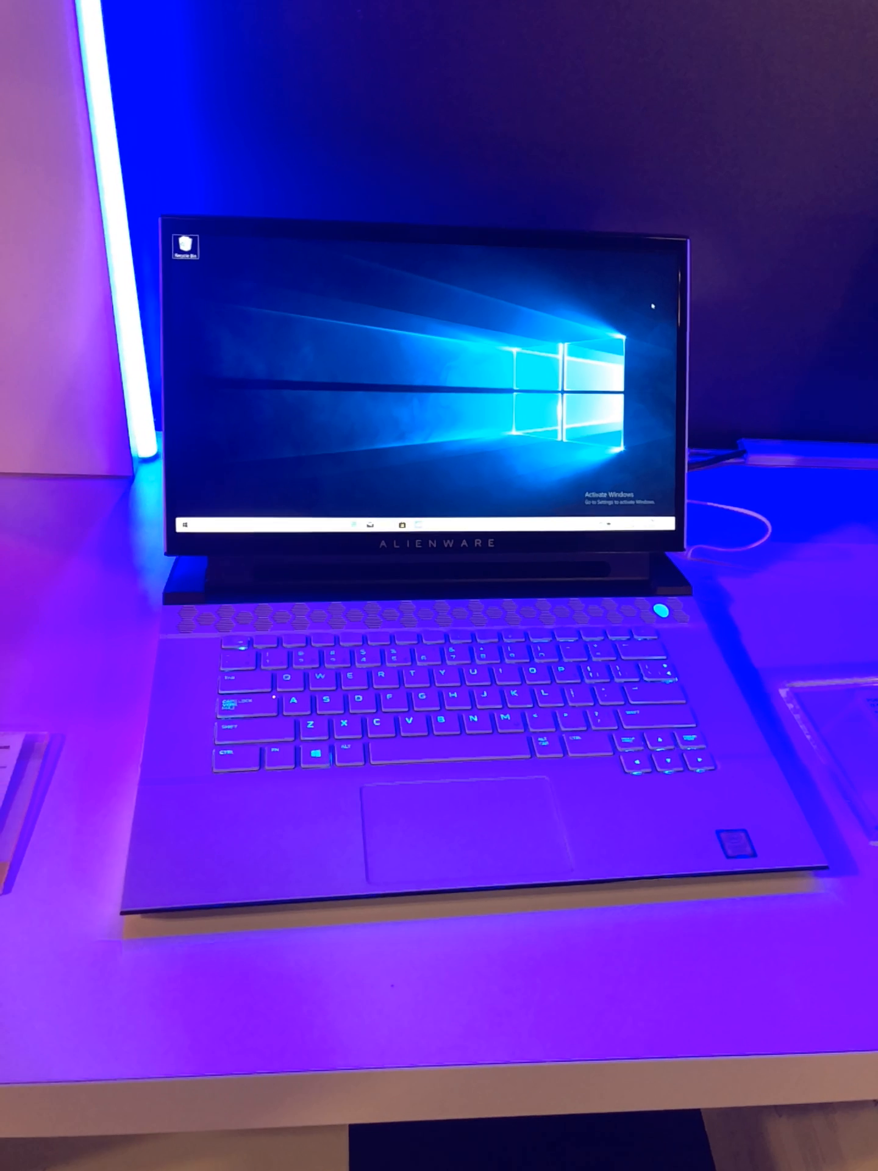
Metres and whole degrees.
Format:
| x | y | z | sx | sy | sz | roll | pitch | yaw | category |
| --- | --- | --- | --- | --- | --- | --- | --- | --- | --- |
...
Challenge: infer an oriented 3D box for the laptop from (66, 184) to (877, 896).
| x | y | z | sx | sy | sz | roll | pitch | yaw | category |
| --- | --- | --- | --- | --- | --- | --- | --- | --- | --- |
| 0.011 | -0.055 | 0.566 | 0.356 | 0.194 | 0.381 | -1 | 41 | -9 | laptop |
